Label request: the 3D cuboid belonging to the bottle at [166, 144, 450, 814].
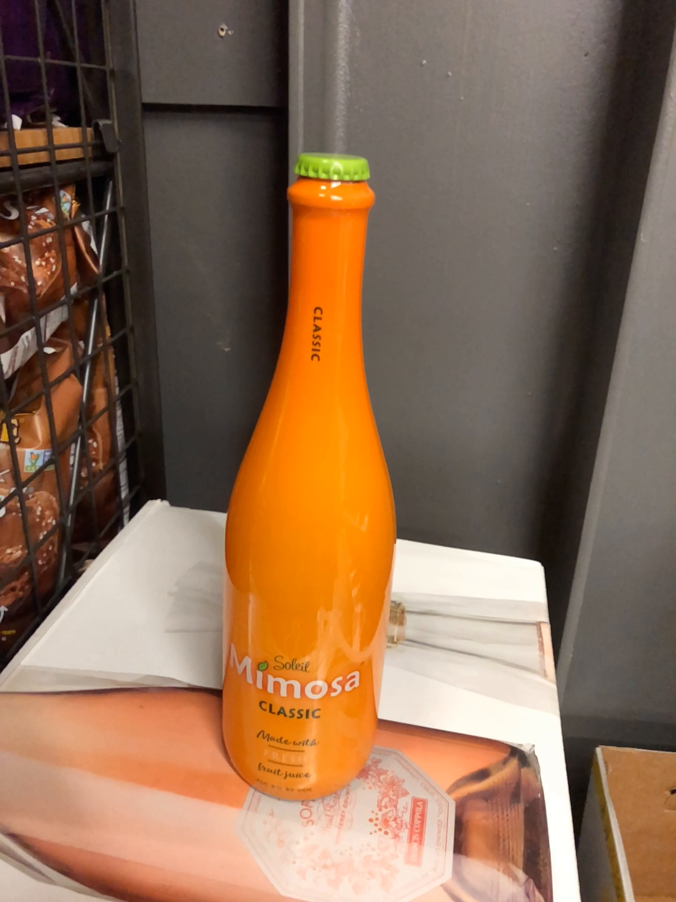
[{"bbox_3d":[-0.008,0.017,0.331,0.090,0.279,0.090,1,24,-1],"label":"bottle"}]
